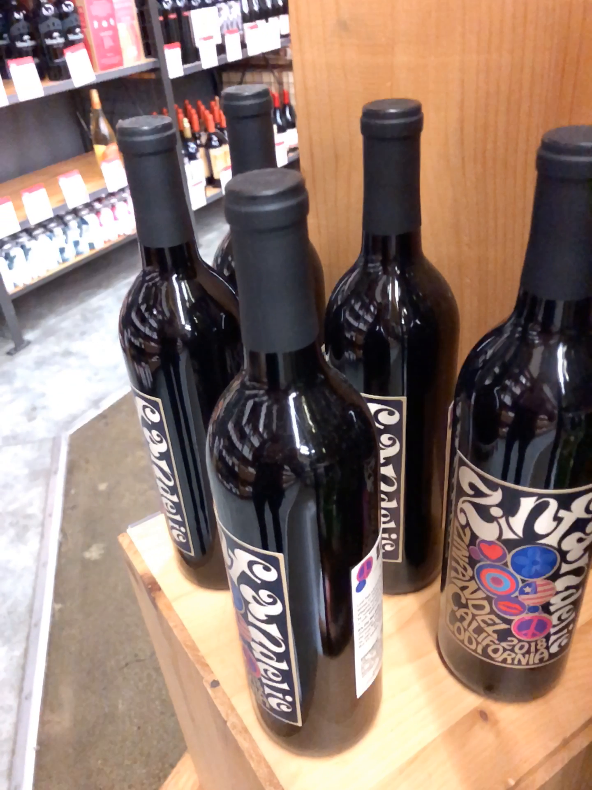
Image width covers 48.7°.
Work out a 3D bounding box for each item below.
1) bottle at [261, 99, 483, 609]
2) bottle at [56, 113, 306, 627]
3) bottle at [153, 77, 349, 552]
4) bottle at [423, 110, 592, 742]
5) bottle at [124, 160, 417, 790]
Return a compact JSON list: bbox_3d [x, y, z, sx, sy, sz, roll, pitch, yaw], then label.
[{"bbox_3d":[0.047,-0.010,0.367,0.080,0.274,0.077,-4,34,2],"label":"bottle"},{"bbox_3d":[-0.058,0.000,0.403,0.077,0.304,0.080,-4,34,2],"label":"bottle"},{"bbox_3d":[-0.017,-0.033,0.405,0.080,0.280,0.077,-4,34,2],"label":"bottle"},{"bbox_3d":[0.115,0.036,0.317,0.080,0.310,0.077,-4,34,2],"label":"bottle"},{"bbox_3d":[-0.001,0.056,0.291,0.070,0.286,0.073,-4,34,2],"label":"bottle"}]
